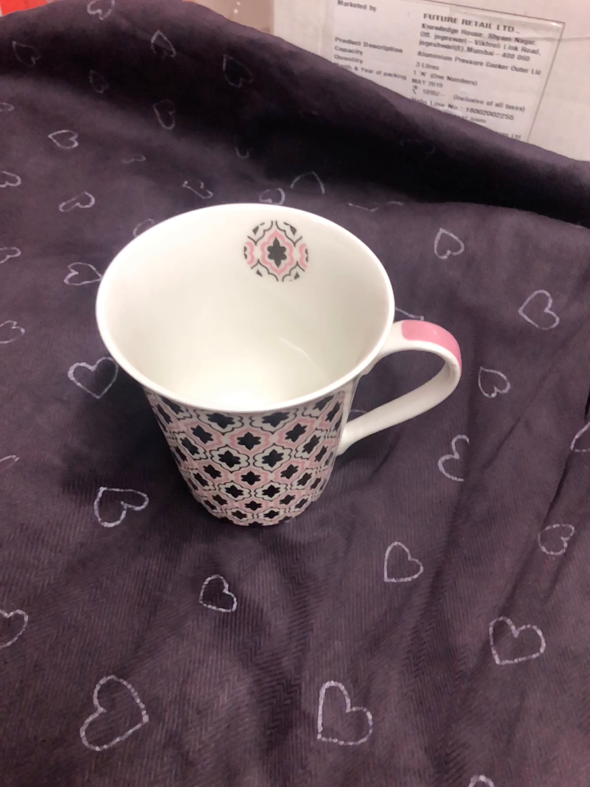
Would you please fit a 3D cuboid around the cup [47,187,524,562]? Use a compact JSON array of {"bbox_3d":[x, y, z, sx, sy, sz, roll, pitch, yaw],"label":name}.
[{"bbox_3d":[-0.003,-0.006,0.225,0.120,0.080,0.091,4,50,-2],"label":"cup"}]
